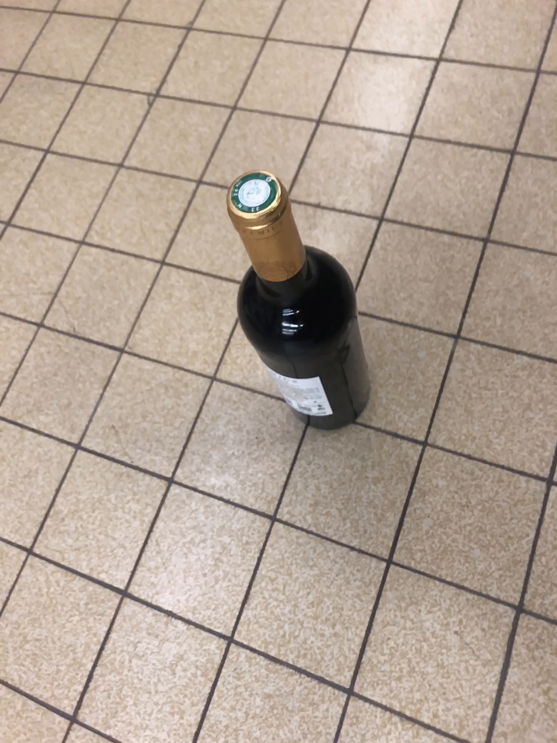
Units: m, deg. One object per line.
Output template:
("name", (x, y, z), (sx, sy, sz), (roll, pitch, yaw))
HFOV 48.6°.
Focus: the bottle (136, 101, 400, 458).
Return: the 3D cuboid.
("bottle", (0.019, -0.030, 0.416), (0.090, 0.289, 0.080), (32, 79, 21))
